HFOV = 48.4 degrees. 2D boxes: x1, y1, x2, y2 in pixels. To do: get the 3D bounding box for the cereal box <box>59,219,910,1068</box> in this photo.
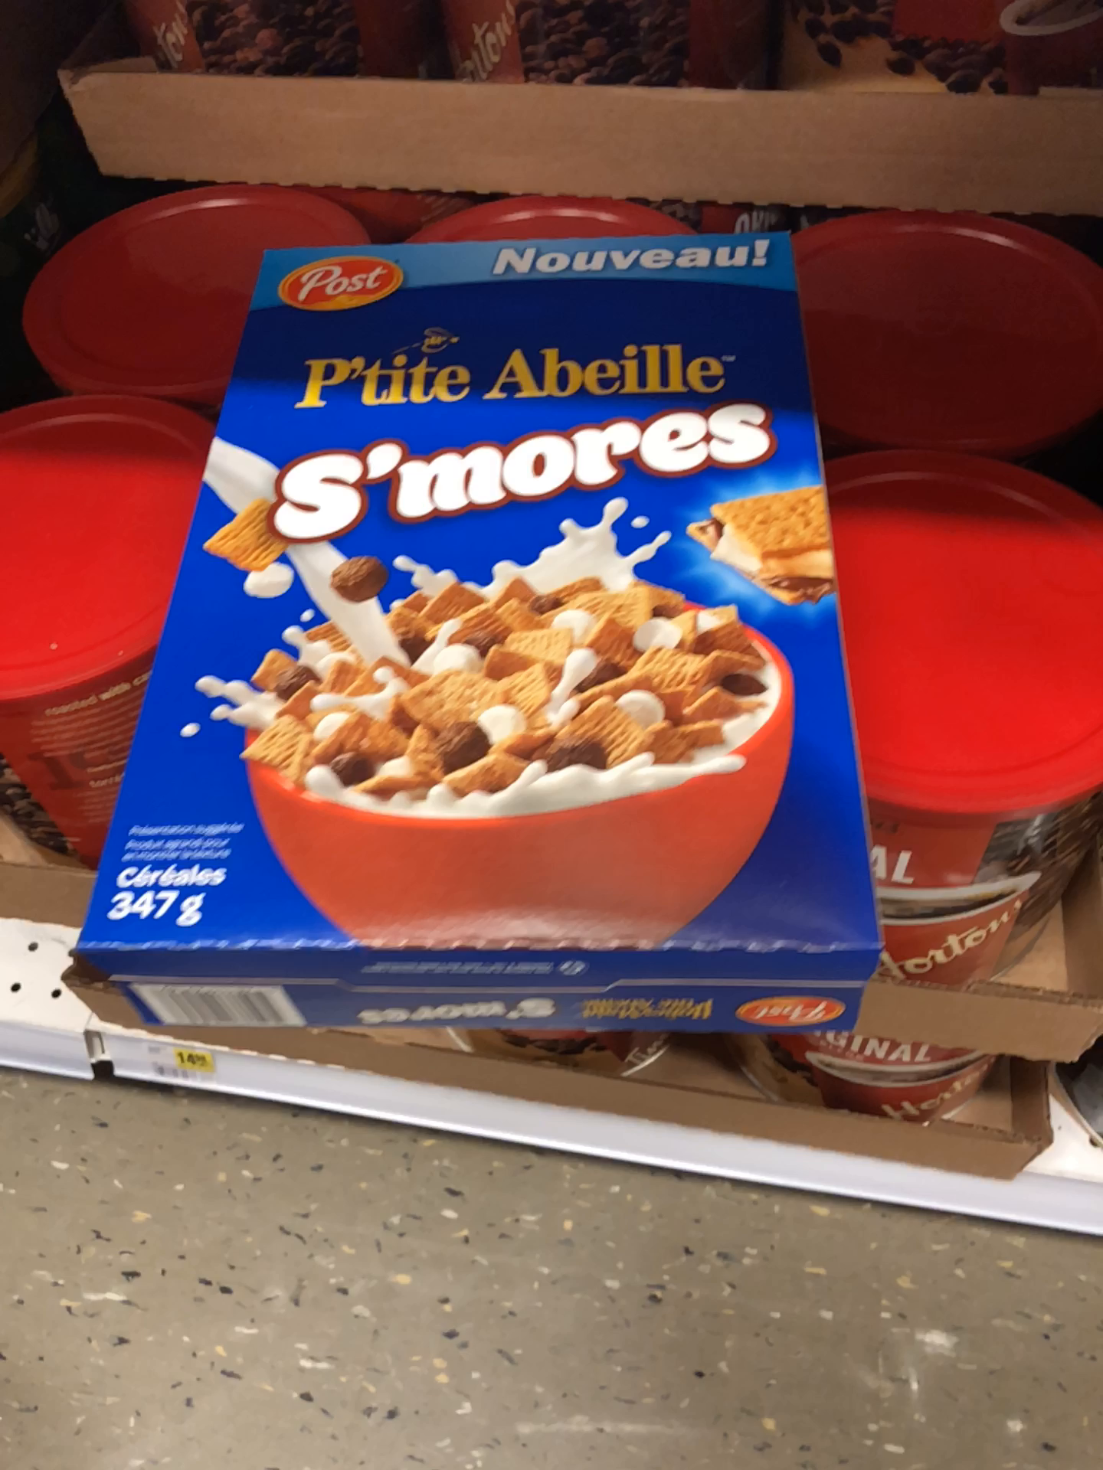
[{"bbox_3d":[-0.011,-0.047,0.392,0.200,0.060,0.290,-1,56,5],"label":"cereal box"}]
